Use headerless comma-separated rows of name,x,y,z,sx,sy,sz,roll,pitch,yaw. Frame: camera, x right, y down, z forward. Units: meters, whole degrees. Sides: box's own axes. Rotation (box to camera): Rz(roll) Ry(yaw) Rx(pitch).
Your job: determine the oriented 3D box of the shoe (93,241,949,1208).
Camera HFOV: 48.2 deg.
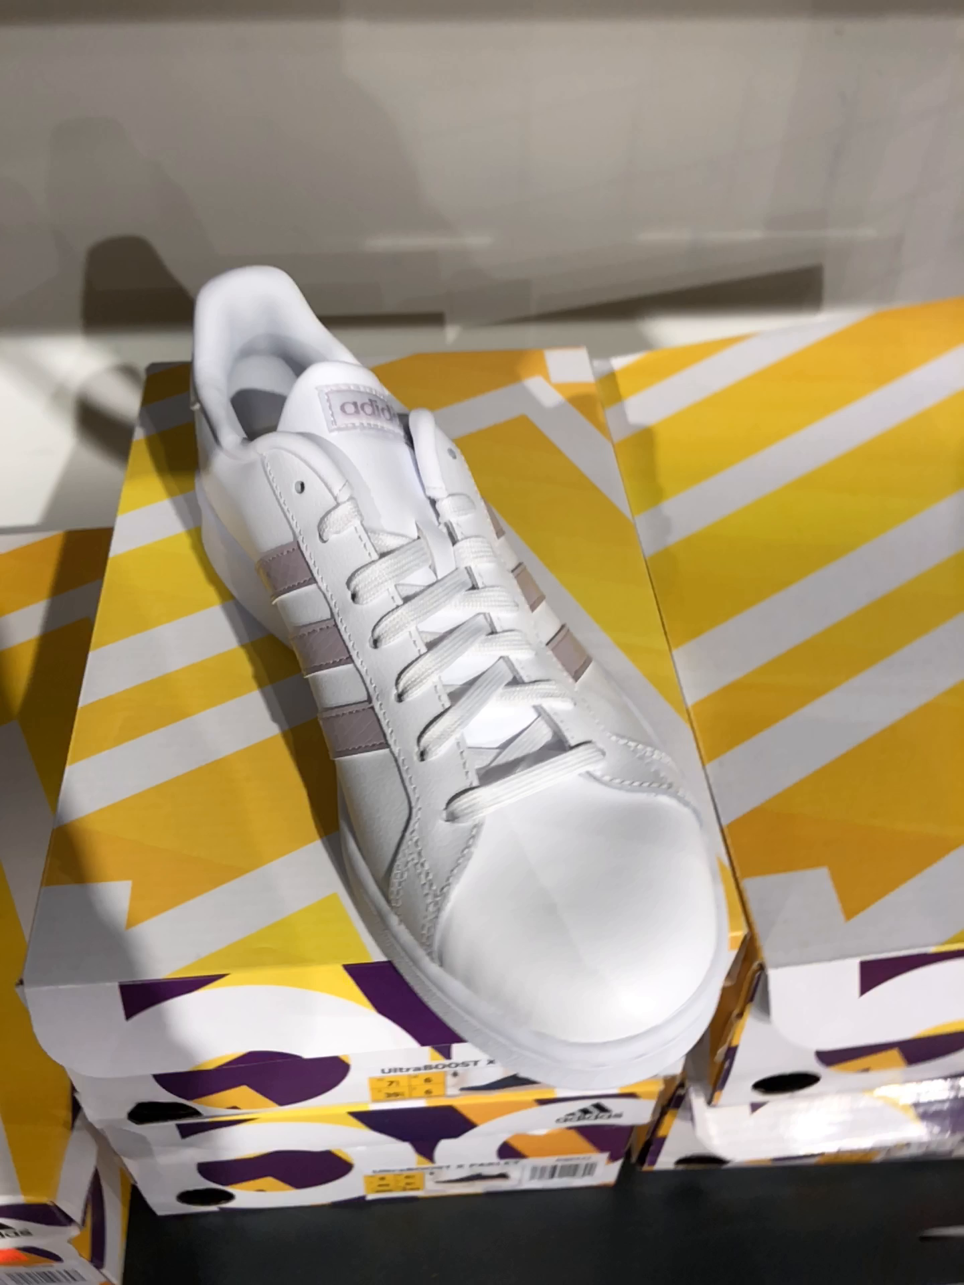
shoe,-0.017,-0.007,0.333,0.110,0.090,0.291,-21,51,-19
